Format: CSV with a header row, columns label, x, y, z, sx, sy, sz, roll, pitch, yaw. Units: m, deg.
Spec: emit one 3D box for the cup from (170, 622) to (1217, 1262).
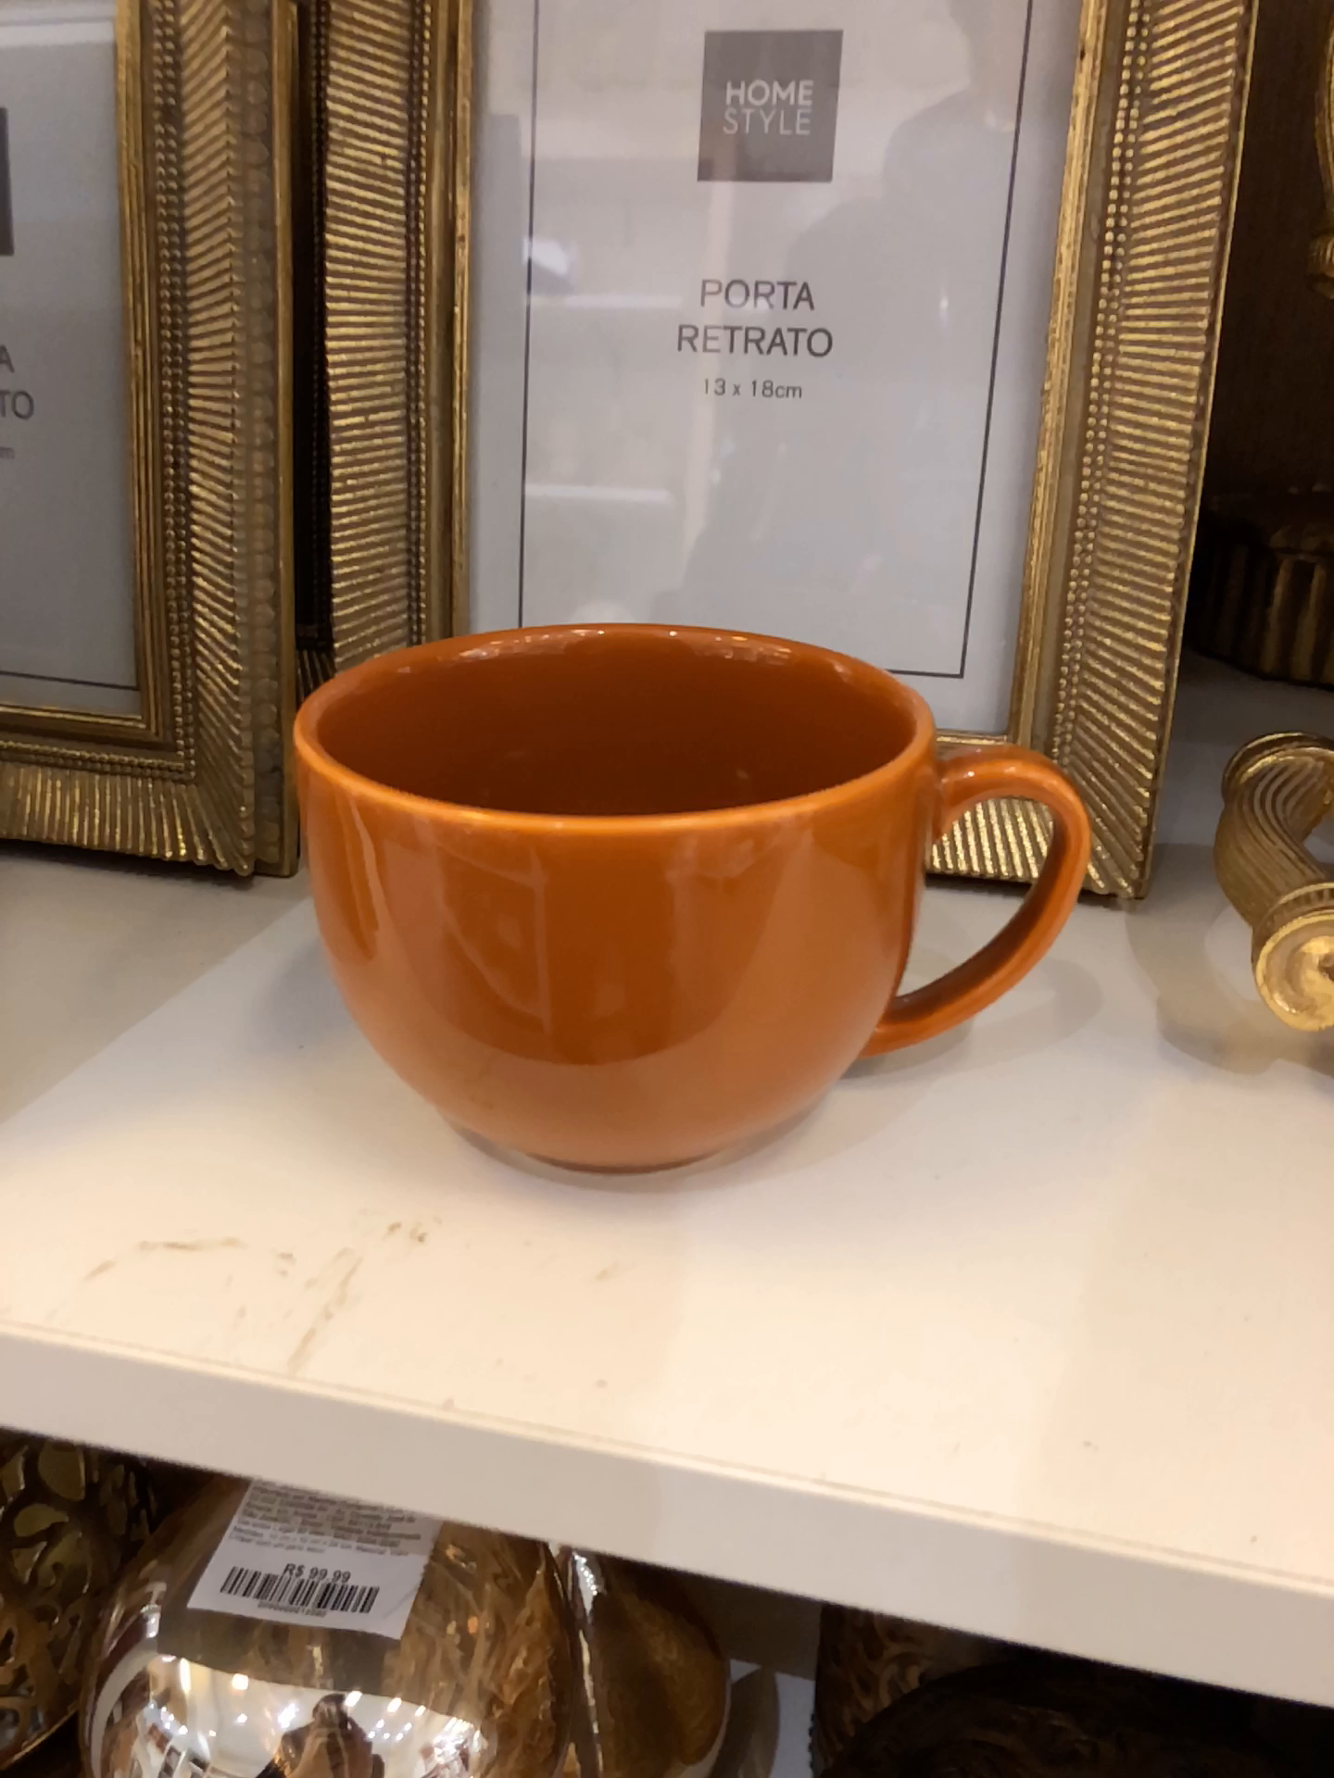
label,x,y,z,sx,sy,sz,roll,pitch,yaw
cup,0.003,0.002,0.223,0.120,0.060,0.091,0,26,0
